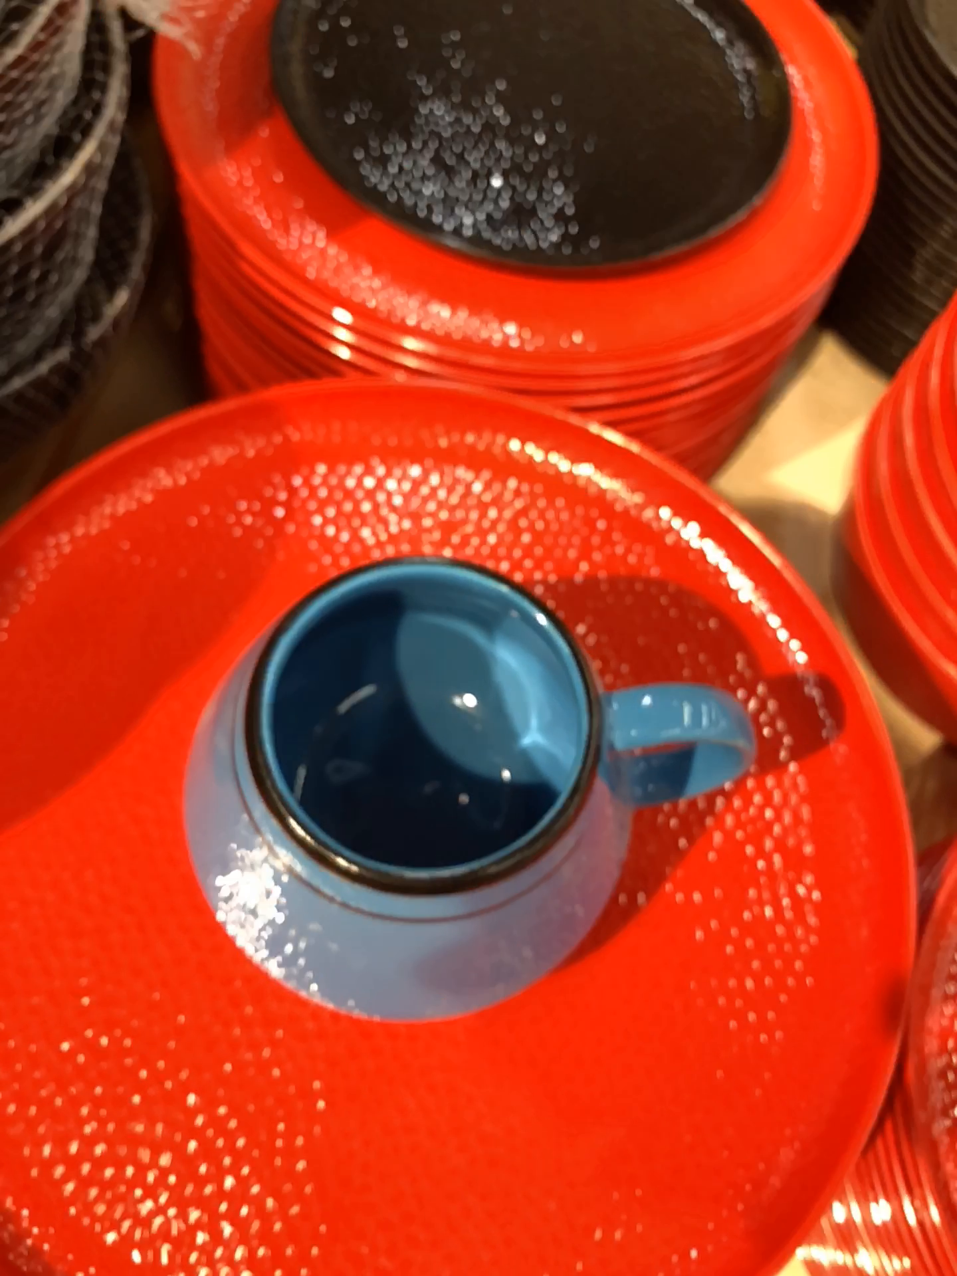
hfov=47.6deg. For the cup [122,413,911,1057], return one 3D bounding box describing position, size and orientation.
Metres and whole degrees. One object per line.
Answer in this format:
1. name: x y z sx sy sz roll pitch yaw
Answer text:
1. cup: -0.001 0.025 0.255 0.140 0.090 0.110 -6 66 -10
